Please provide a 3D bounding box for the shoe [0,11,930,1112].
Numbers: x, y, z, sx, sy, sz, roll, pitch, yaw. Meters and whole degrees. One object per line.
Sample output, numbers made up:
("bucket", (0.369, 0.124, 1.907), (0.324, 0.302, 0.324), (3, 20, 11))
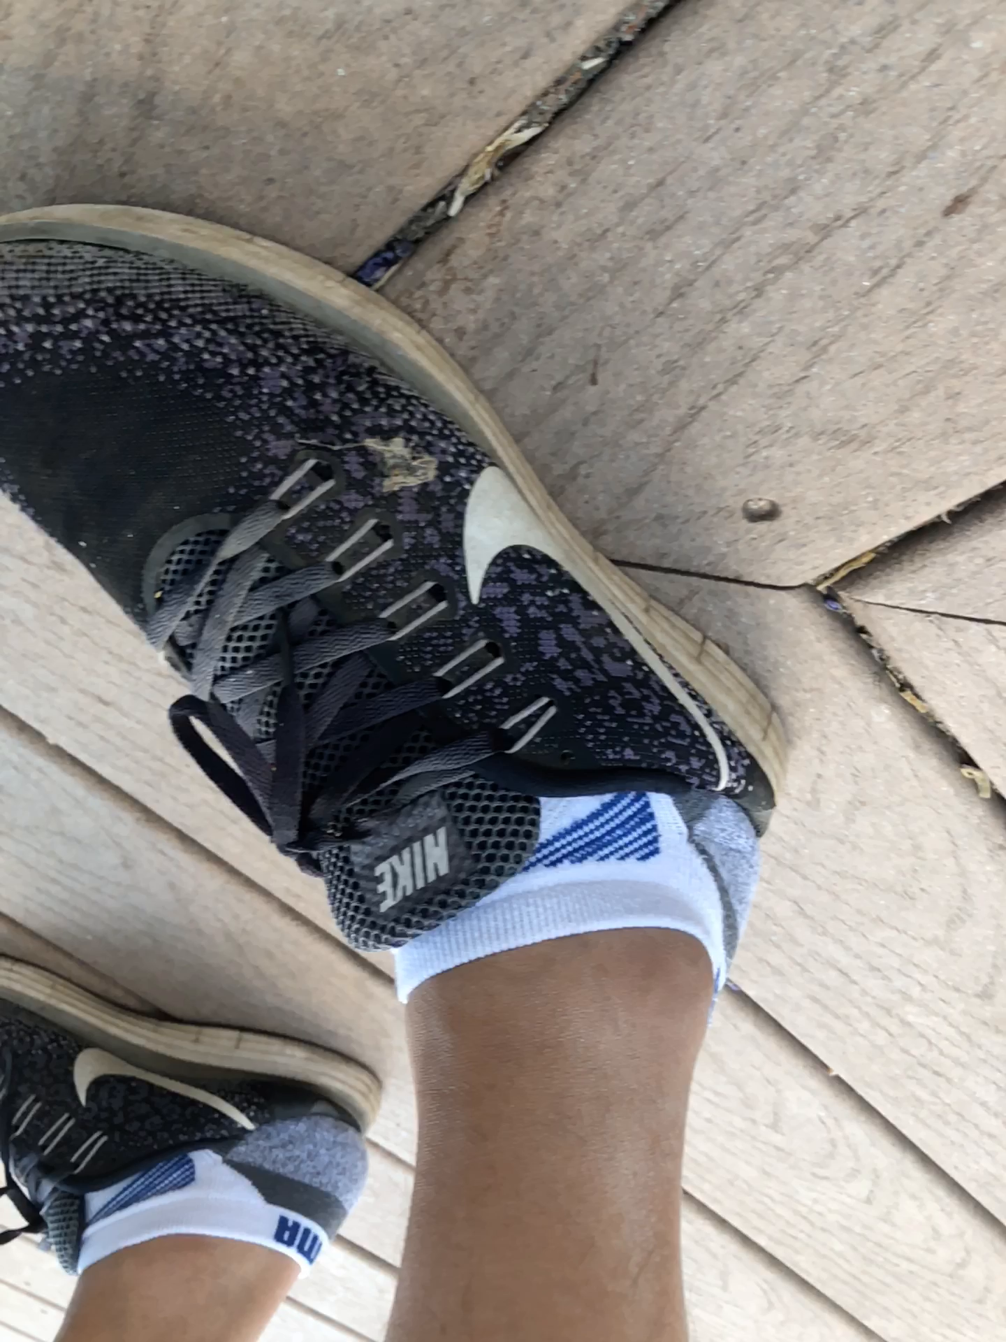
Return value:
("shoe", (-0.034, -0.009, 0.319), (0.300, 0.099, 0.131), (38, 131, -15))
